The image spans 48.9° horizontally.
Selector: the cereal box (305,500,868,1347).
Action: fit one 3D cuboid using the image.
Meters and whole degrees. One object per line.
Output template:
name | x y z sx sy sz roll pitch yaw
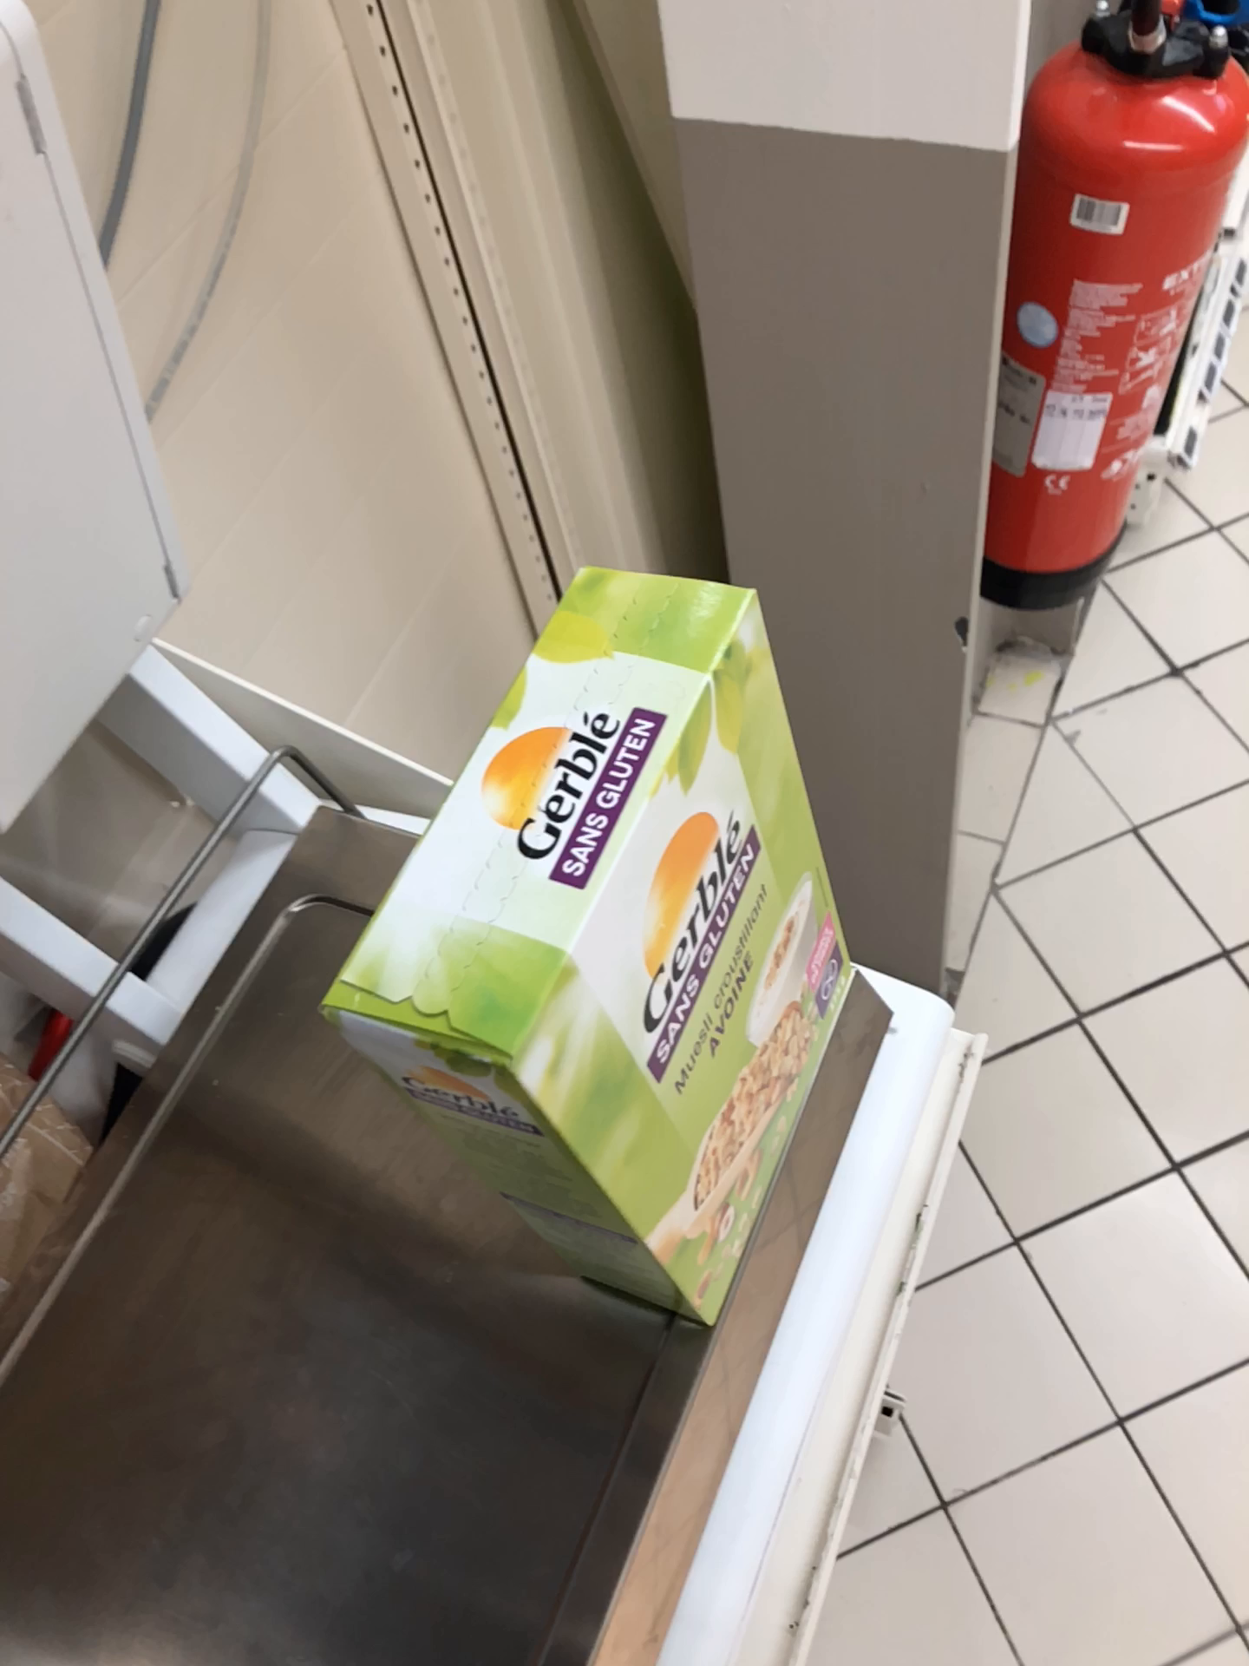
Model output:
cereal box | 0.012 0.042 0.405 0.050 0.229 0.151 13 62 24
